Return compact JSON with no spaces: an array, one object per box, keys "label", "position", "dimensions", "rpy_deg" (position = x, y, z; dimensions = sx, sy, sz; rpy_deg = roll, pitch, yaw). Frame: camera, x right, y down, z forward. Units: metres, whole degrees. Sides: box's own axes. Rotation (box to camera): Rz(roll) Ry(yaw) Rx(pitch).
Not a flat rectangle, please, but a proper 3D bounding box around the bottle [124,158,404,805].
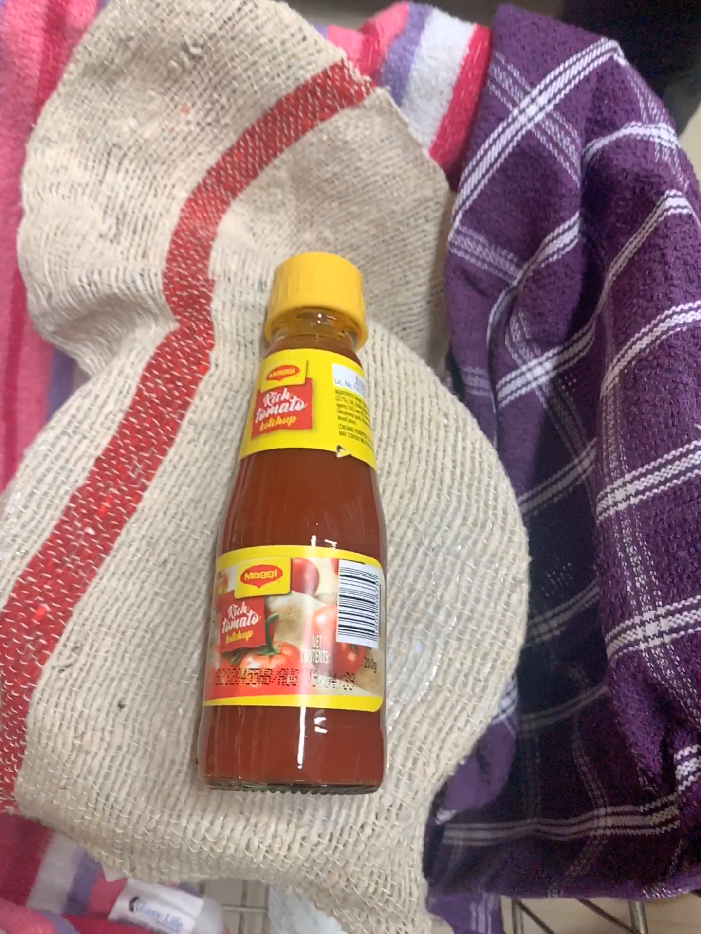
[{"label":"bottle","position":[-0.018,0.002,0.211],"dimensions":[0.050,0.050,0.170],"rpy_deg":[-9,67,24]}]
